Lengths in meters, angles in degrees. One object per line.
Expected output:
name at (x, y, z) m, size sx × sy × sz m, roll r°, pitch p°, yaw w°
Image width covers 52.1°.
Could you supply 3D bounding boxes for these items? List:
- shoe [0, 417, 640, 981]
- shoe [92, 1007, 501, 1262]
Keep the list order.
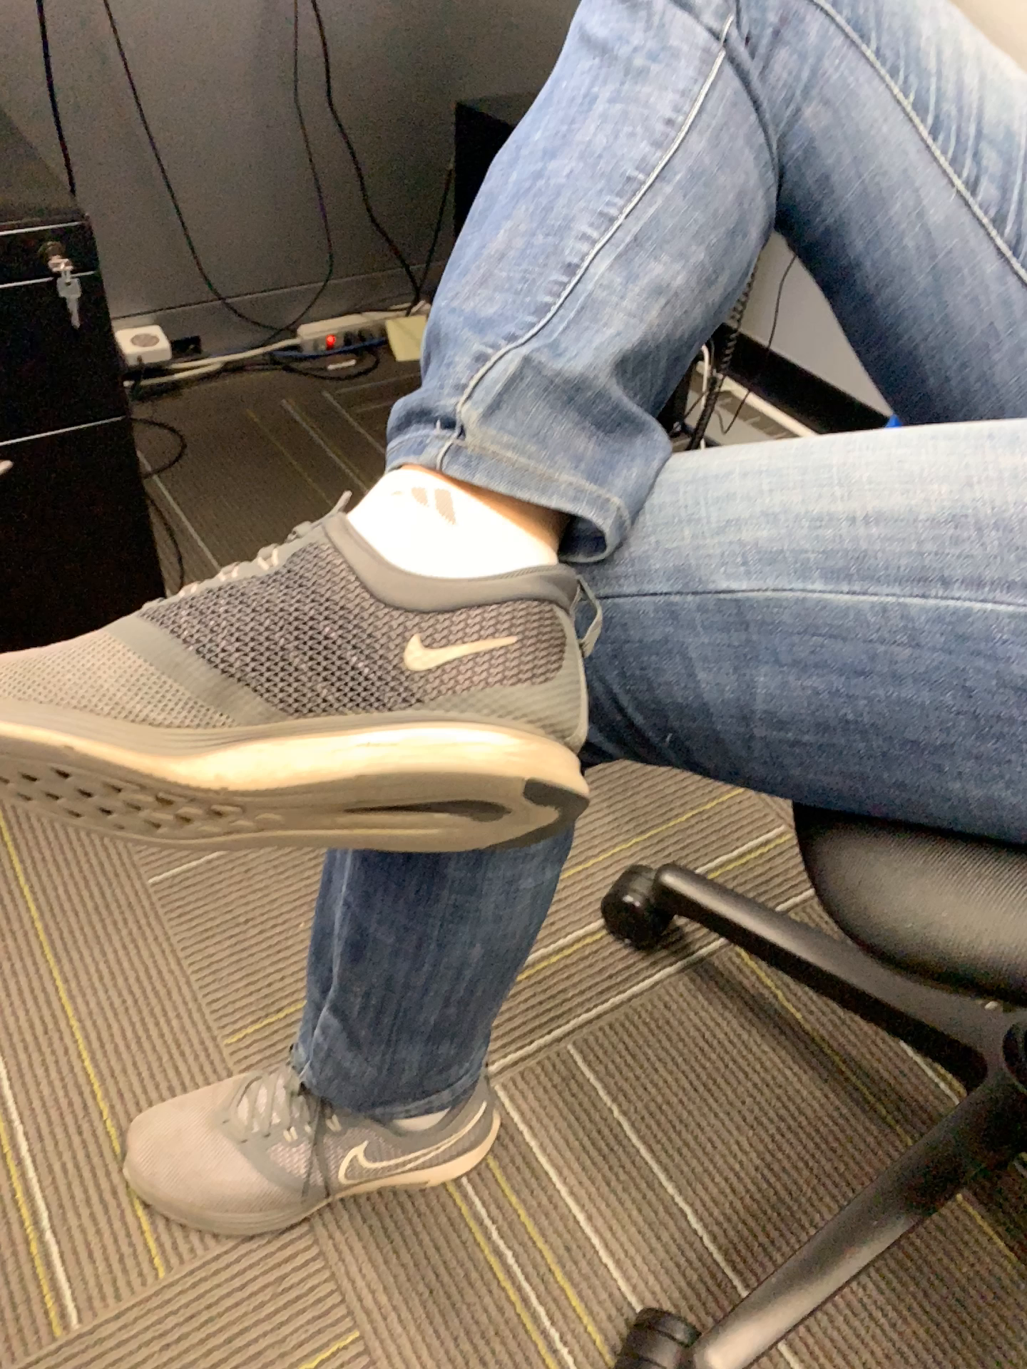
shoe at (-0.110, 0.001, 0.439) m, size 0.295 × 0.120 × 0.134 m, roll 11°, pitch 46°, yaw 6°
shoe at (-0.163, 0.348, 0.822) m, size 0.287 × 0.092 × 0.114 m, roll -5°, pitch 43°, yaw -10°
